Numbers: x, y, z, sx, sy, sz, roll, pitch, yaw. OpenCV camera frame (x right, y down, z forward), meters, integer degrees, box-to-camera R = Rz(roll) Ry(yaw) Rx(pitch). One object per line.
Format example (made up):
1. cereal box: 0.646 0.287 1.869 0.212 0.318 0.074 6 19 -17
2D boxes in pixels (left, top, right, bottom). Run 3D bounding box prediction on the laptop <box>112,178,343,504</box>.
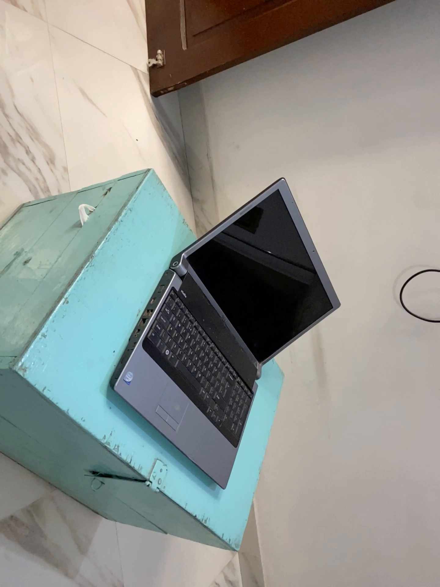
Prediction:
1. laptop: 0.070 0.090 0.900 0.390 0.178 0.479 56 42 -37
